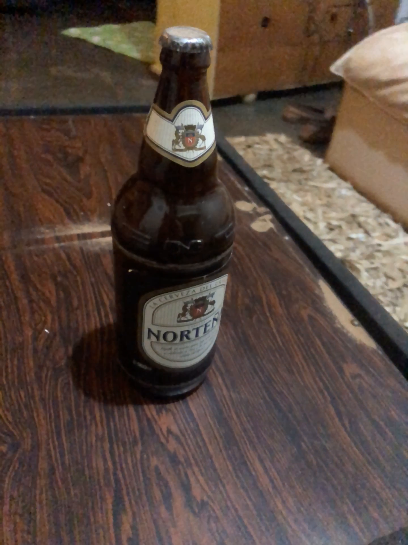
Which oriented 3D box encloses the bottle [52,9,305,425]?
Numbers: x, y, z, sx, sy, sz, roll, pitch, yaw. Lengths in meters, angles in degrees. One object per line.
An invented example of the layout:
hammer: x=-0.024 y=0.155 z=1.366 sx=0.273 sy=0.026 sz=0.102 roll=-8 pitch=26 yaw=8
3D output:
bottle: x=-0.028 y=-0.027 z=0.329 sx=0.100 sy=0.268 sz=0.100 roll=4 pitch=38 yaw=-3
